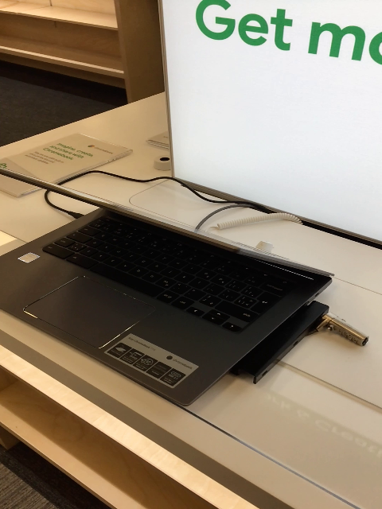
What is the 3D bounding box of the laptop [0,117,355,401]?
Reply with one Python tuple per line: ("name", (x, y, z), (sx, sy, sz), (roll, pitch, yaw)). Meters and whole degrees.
("laptop", (-0.055, -0.023, 0.533), (0.318, 0.147, 0.238), (24, 45, 32))
